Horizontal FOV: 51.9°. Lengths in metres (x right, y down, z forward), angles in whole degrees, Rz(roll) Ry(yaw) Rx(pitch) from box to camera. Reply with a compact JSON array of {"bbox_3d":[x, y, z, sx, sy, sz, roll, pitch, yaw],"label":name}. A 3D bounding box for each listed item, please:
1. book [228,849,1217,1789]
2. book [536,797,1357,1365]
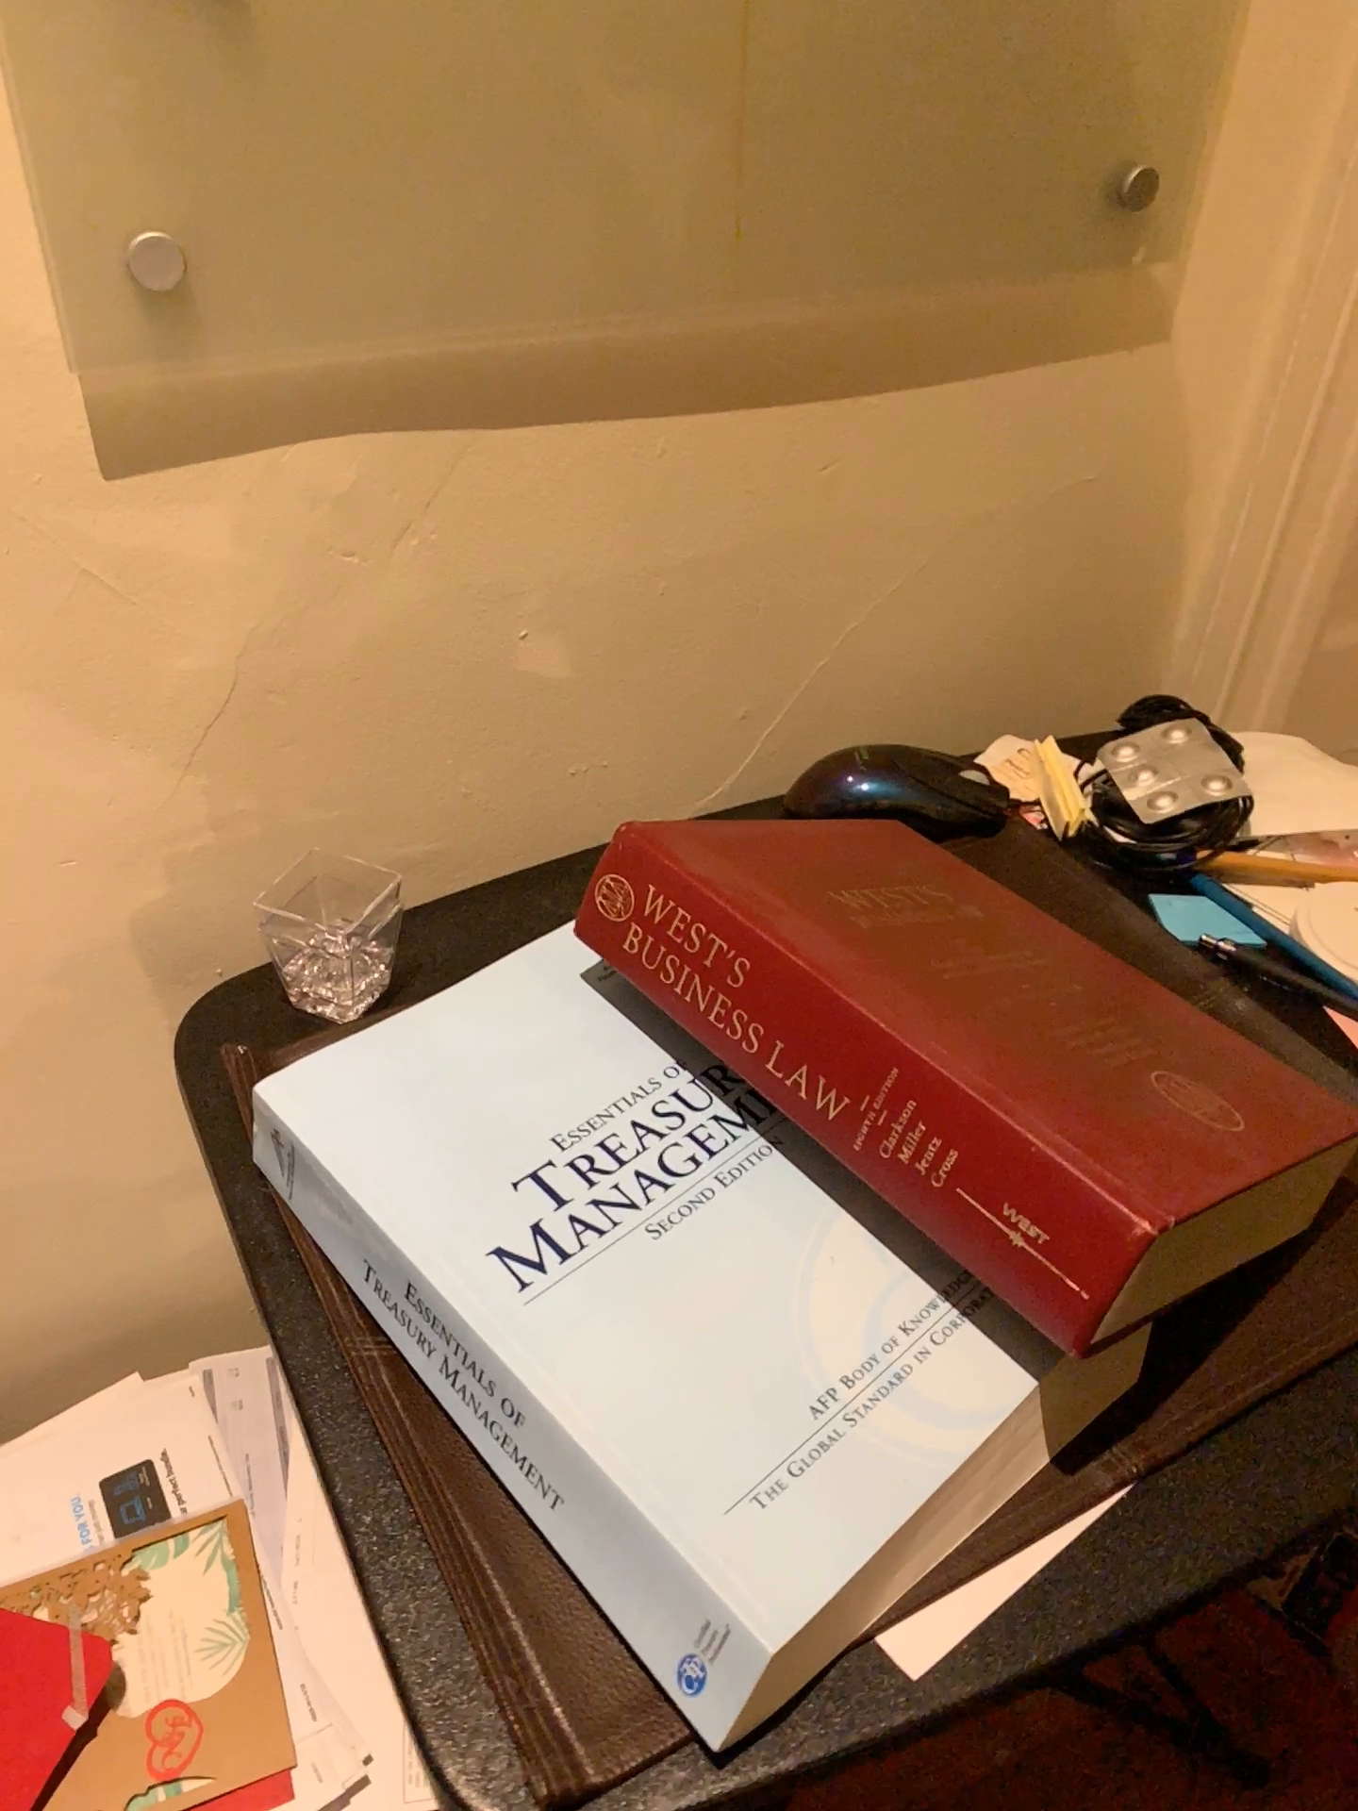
[{"bbox_3d":[0.006,0.111,0.506,0.220,0.070,0.271,-26,47,-32],"label":"book"},{"bbox_3d":[0.109,0.044,0.558,0.210,0.050,0.271,-2,31,-48],"label":"book"}]
